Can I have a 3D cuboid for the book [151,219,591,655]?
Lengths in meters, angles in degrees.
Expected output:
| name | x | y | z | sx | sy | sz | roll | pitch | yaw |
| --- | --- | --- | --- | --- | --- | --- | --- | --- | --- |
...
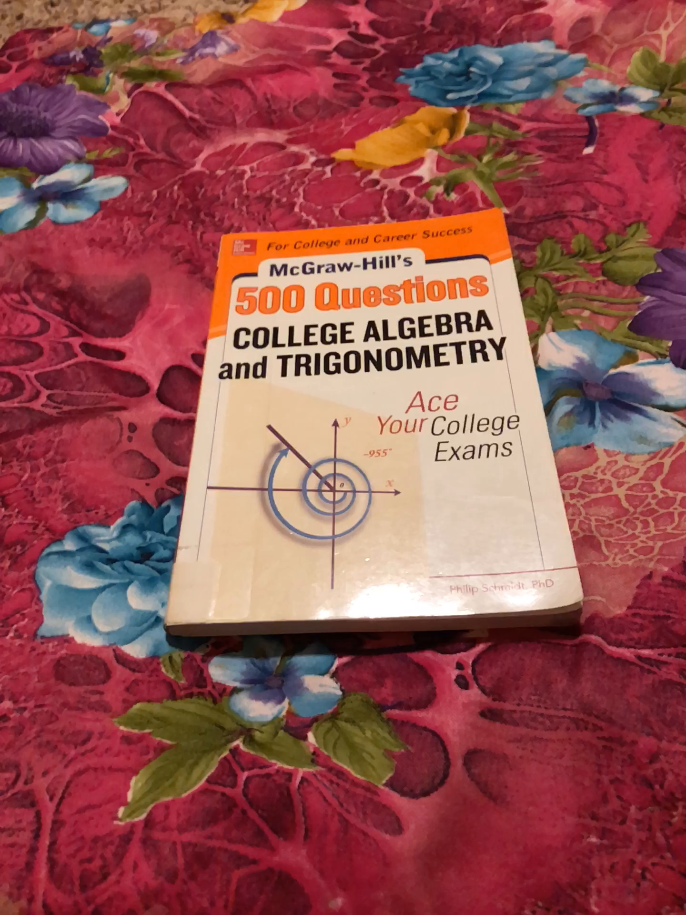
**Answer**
| name | x | y | z | sx | sy | sz | roll | pitch | yaw |
| --- | --- | --- | --- | --- | --- | --- | --- | --- | --- |
| book | 0.010 | -0.024 | 0.343 | 0.156 | 0.022 | 0.221 | -2 | 54 | 4 |
